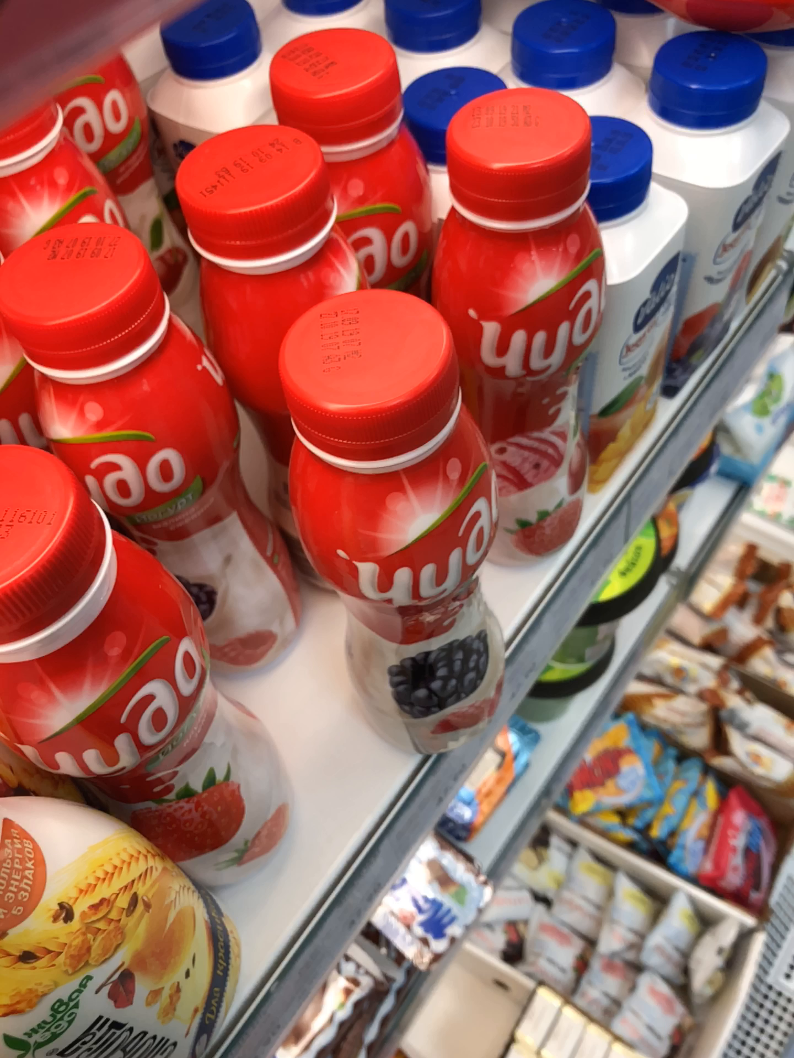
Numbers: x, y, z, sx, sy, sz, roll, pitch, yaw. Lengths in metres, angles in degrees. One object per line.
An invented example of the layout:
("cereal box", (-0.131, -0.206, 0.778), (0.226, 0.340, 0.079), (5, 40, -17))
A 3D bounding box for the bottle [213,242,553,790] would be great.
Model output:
("bottle", (0.005, 0.013, 0.265), (0.050, 0.182, 0.054), (-3, 56, 4))

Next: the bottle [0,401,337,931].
("bottle", (-0.065, 0.054, 0.242), (0.050, 0.182, 0.054), (-3, 56, 4))

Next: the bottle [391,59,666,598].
("bottle", (0.042, -0.053, 0.306), (0.050, 0.182, 0.054), (-3, 56, 4))
